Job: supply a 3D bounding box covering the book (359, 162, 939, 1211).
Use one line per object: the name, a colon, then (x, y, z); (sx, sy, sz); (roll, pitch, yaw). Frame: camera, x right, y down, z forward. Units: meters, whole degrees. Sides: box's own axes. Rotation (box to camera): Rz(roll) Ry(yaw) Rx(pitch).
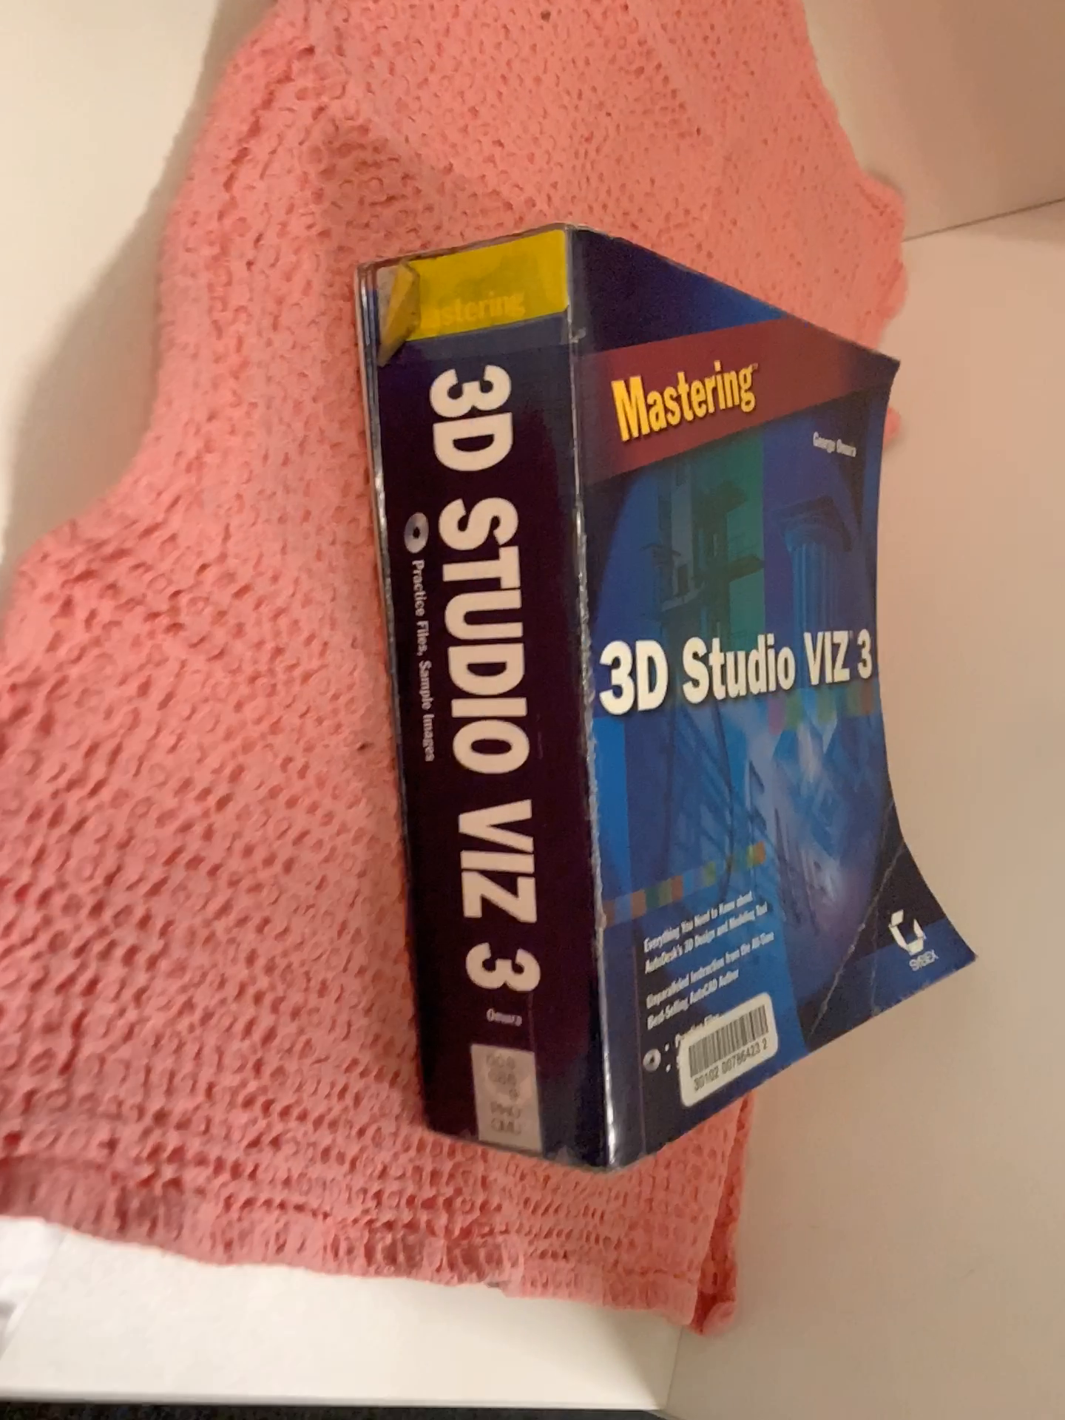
book: (0.055, -0.011, 0.347); (0.208, 0.077, 0.231); (-8, 96, -54)
